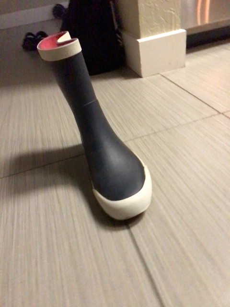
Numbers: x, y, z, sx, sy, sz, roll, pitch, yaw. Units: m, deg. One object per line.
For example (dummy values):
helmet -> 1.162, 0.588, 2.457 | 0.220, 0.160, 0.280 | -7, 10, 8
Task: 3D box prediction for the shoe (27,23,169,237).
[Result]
shoe -> -0.039, -0.062, 0.393 | 0.102, 0.216, 0.280 | -21, 36, -9
